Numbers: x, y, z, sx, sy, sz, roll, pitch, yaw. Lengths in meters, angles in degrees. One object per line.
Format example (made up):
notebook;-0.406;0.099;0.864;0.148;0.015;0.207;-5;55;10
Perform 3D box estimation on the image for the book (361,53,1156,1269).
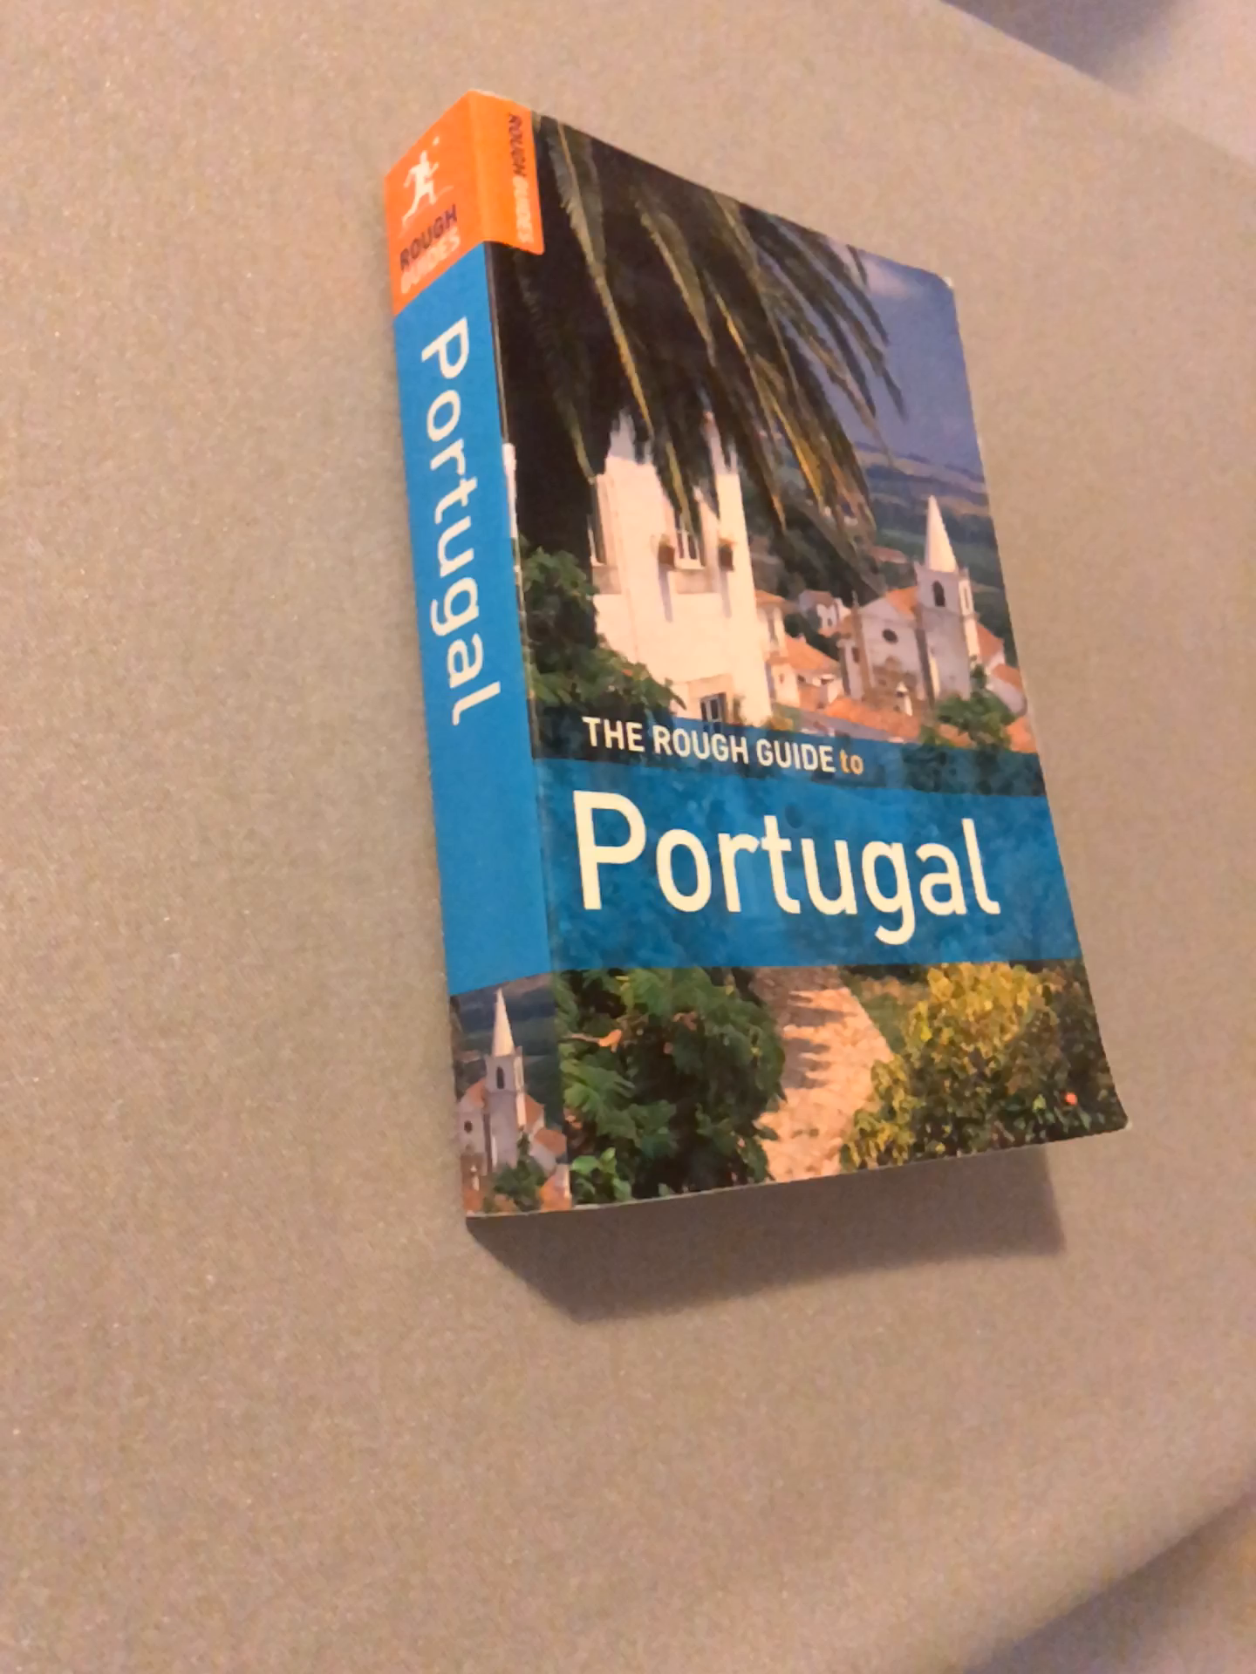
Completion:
book;0.027;-0.030;0.281;0.139;0.040;0.204;3;74;-37
